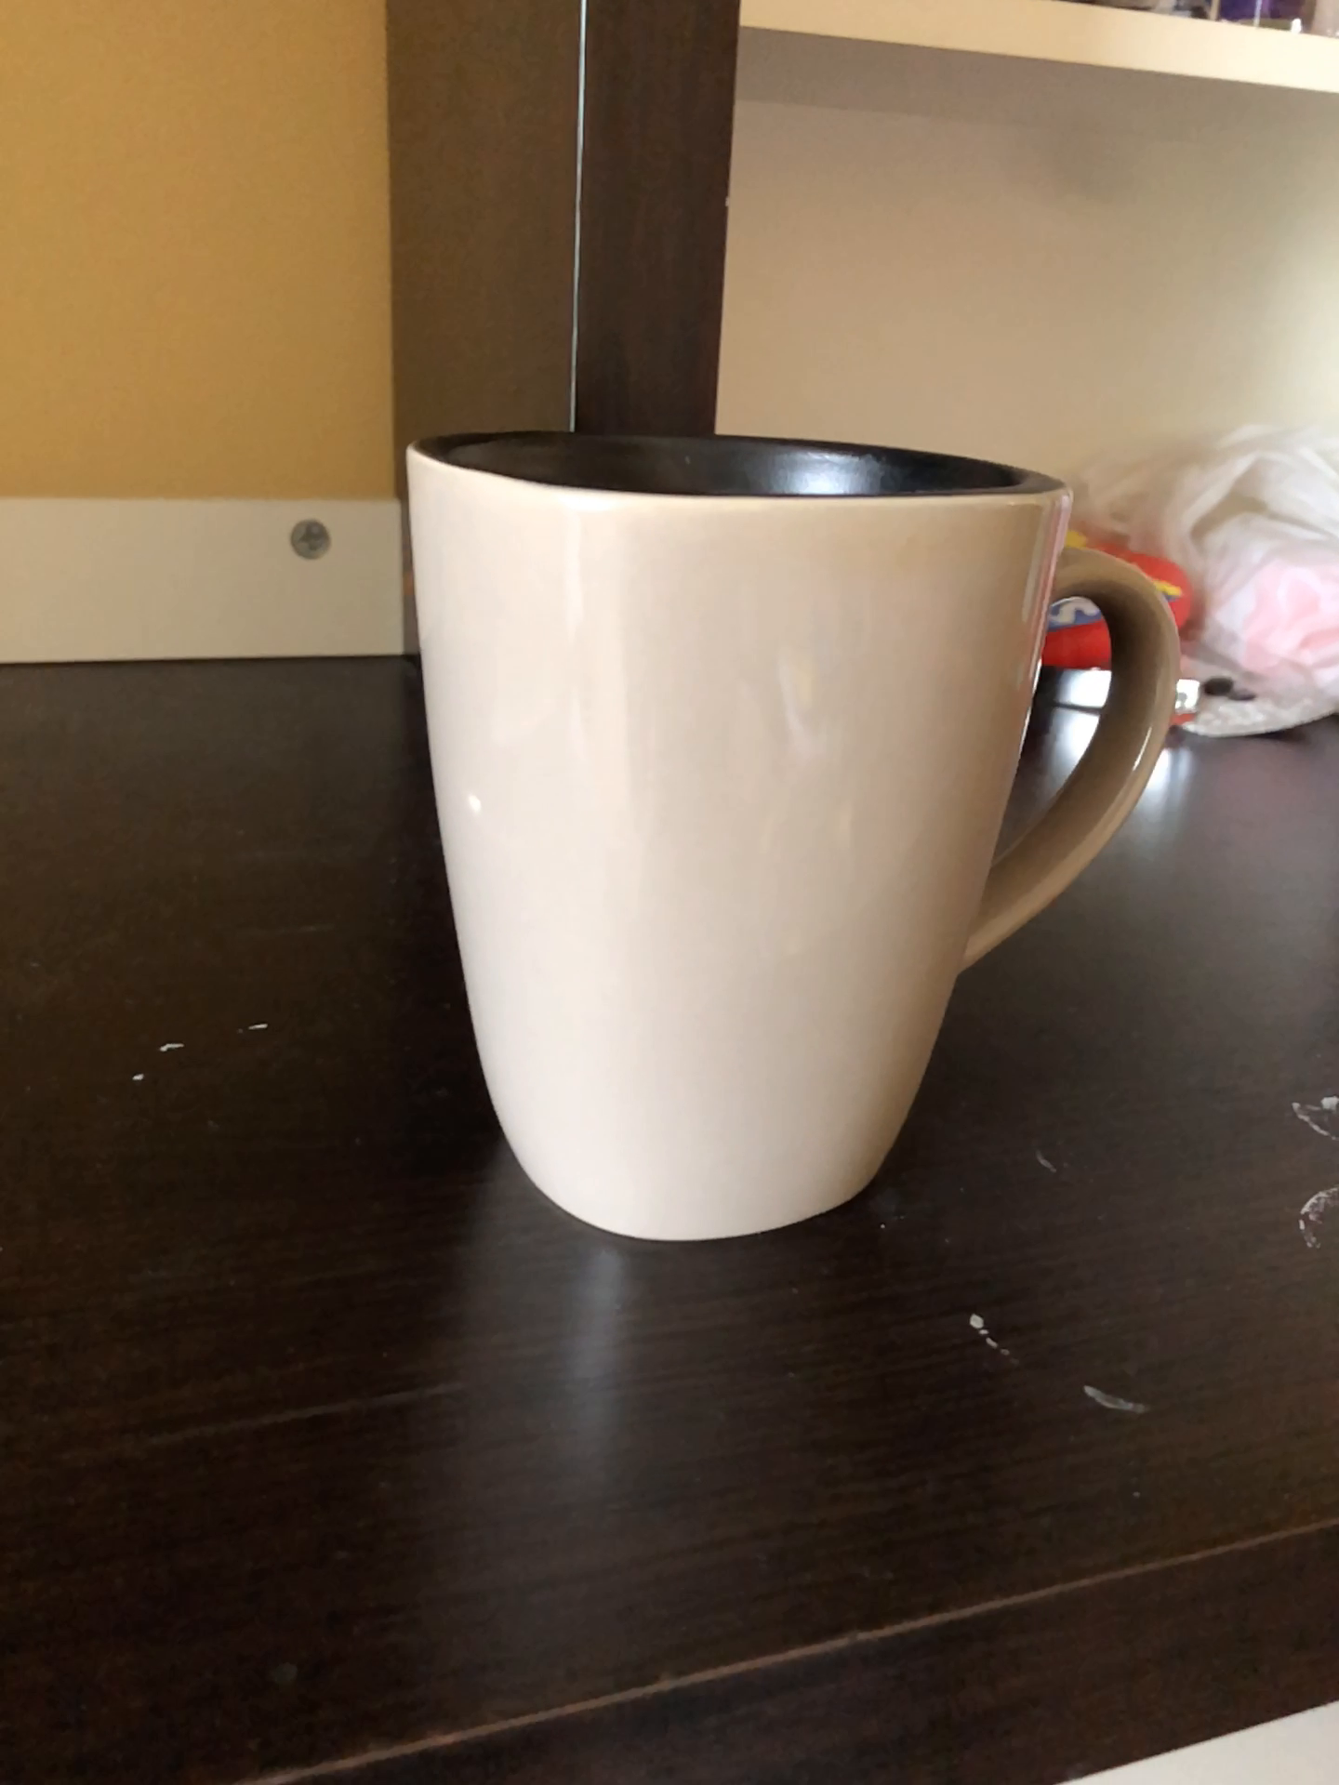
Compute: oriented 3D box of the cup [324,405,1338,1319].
[{"bbox_3d":[0.019,-0.018,0.251,0.130,0.110,0.100,-6,24,-23],"label":"cup"}]
